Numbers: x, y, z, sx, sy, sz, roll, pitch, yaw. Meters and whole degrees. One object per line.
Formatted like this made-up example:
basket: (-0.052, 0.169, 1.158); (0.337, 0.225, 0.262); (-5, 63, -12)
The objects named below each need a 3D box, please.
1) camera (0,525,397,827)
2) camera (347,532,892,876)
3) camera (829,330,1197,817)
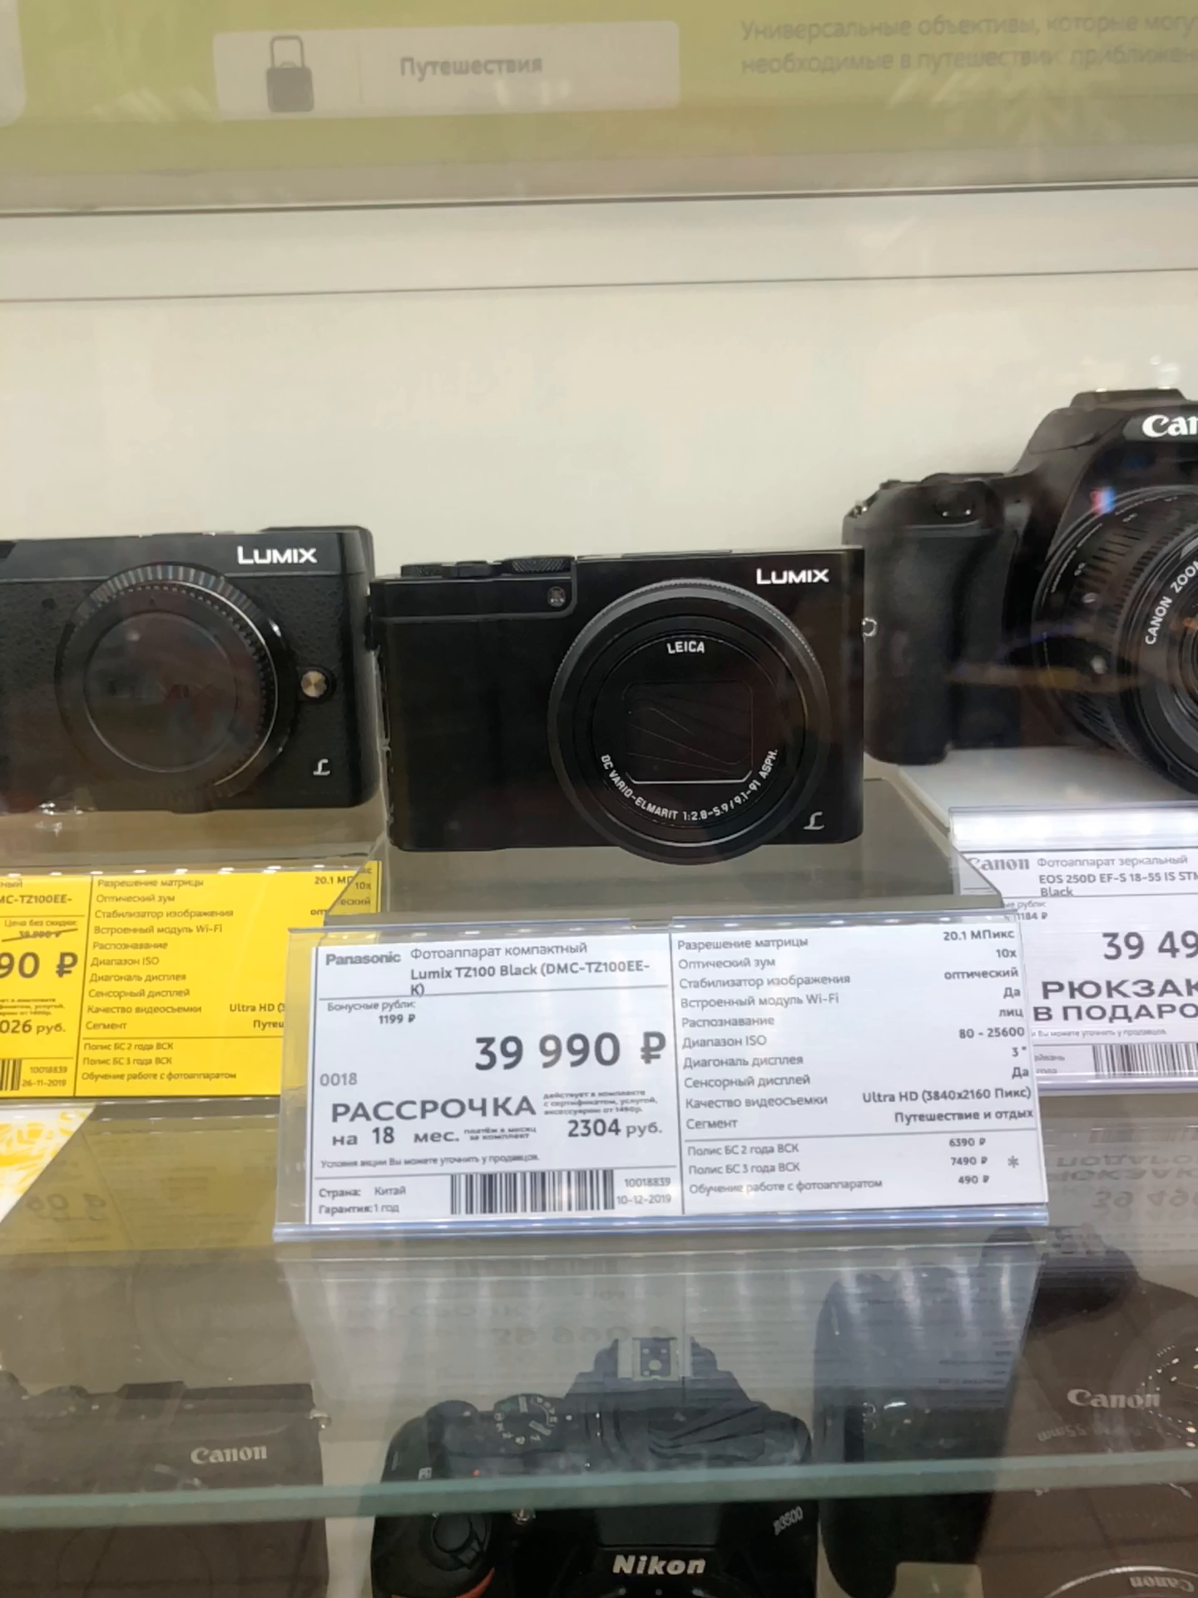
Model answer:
camera: (-0.113, -0.034, 0.345); (0.108, 0.068, 0.055); (-1, 12, 2)
camera: (0.005, -0.022, 0.297); (0.111, 0.068, 0.038); (-1, 12, 2)
camera: (0.154, -0.067, 0.366); (0.157, 0.099, 0.164); (-1, 15, 2)
